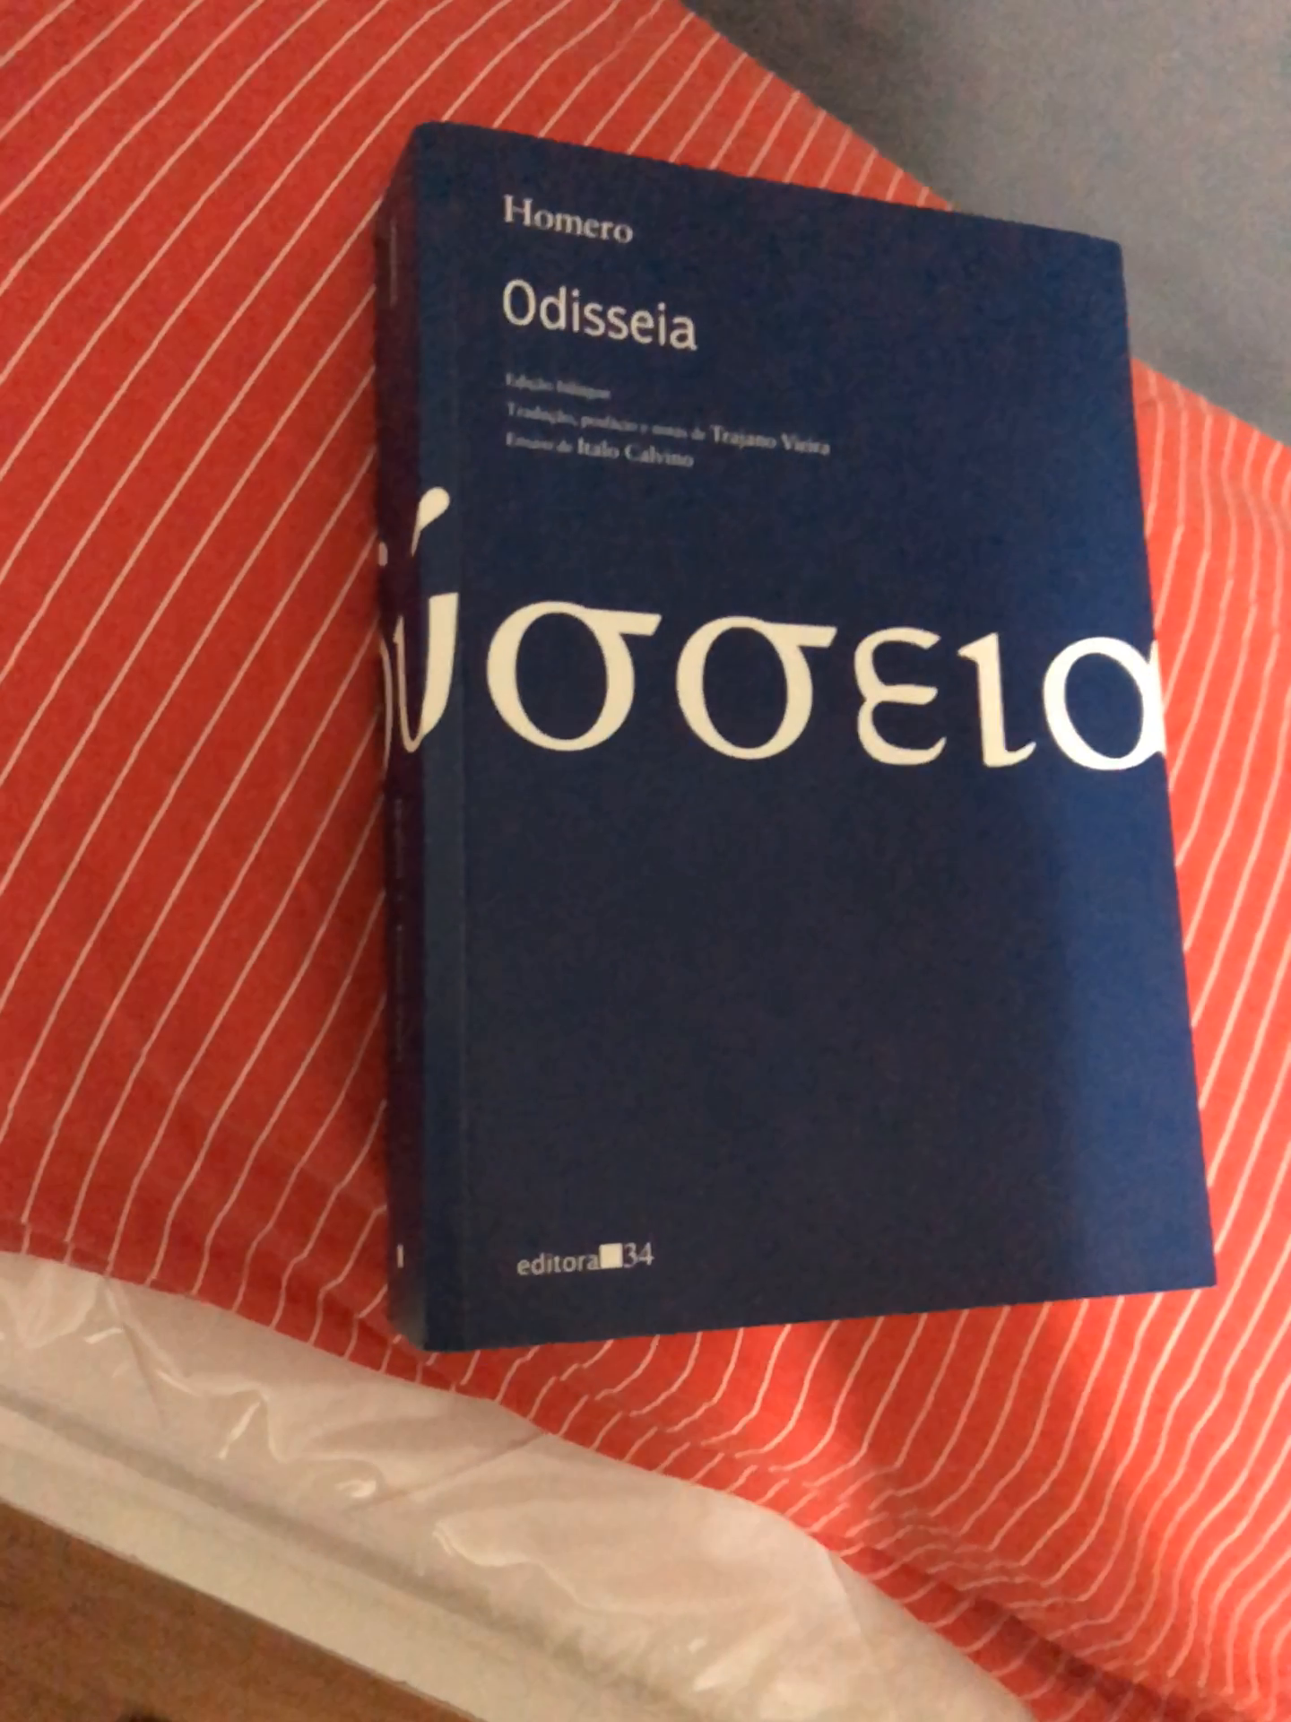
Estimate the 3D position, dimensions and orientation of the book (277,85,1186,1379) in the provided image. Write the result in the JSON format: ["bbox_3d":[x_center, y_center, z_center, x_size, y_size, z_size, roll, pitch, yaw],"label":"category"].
[{"bbox_3d":[0.014,-0.027,0.293,0.170,0.040,0.230,1,81,-17],"label":"book"}]
